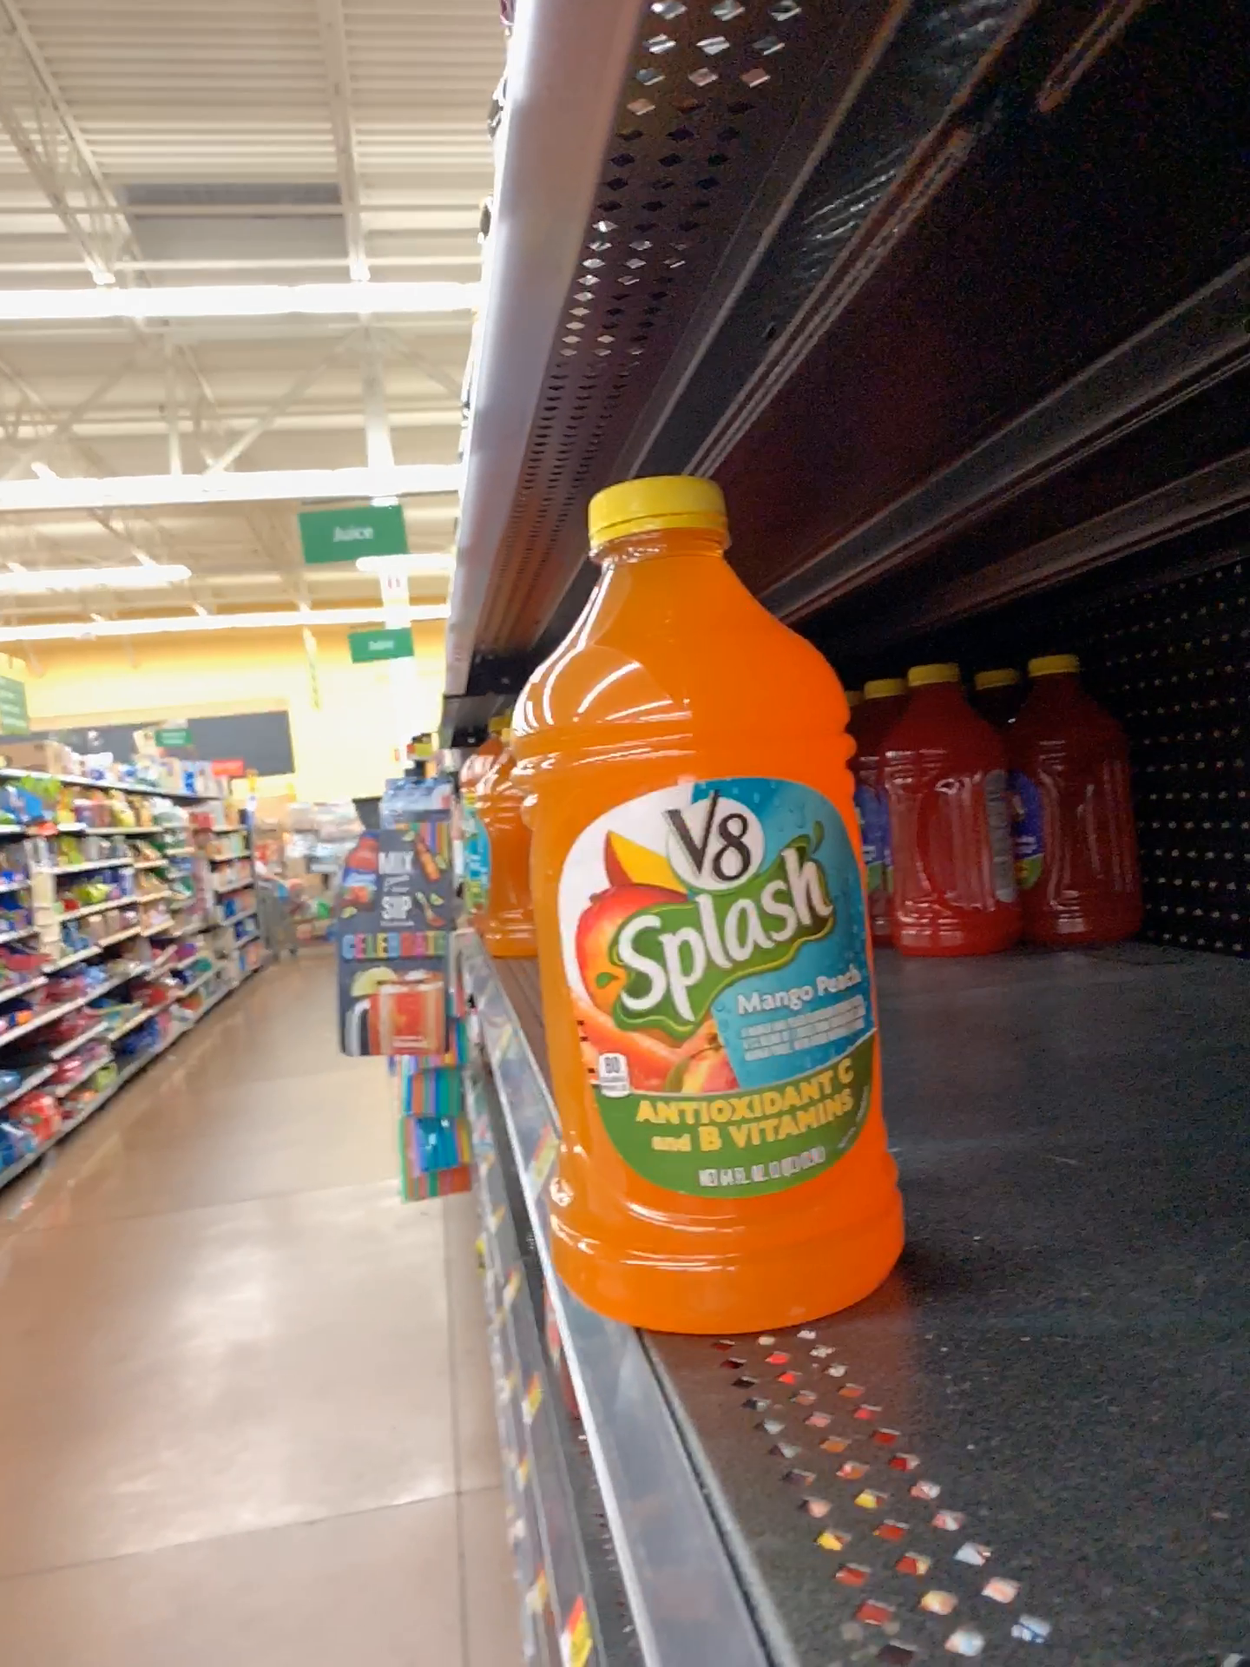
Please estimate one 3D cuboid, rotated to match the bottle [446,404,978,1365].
[{"bbox_3d":[0.019,0.011,0.426,0.128,0.260,0.125,-6,1,0],"label":"bottle"}]
